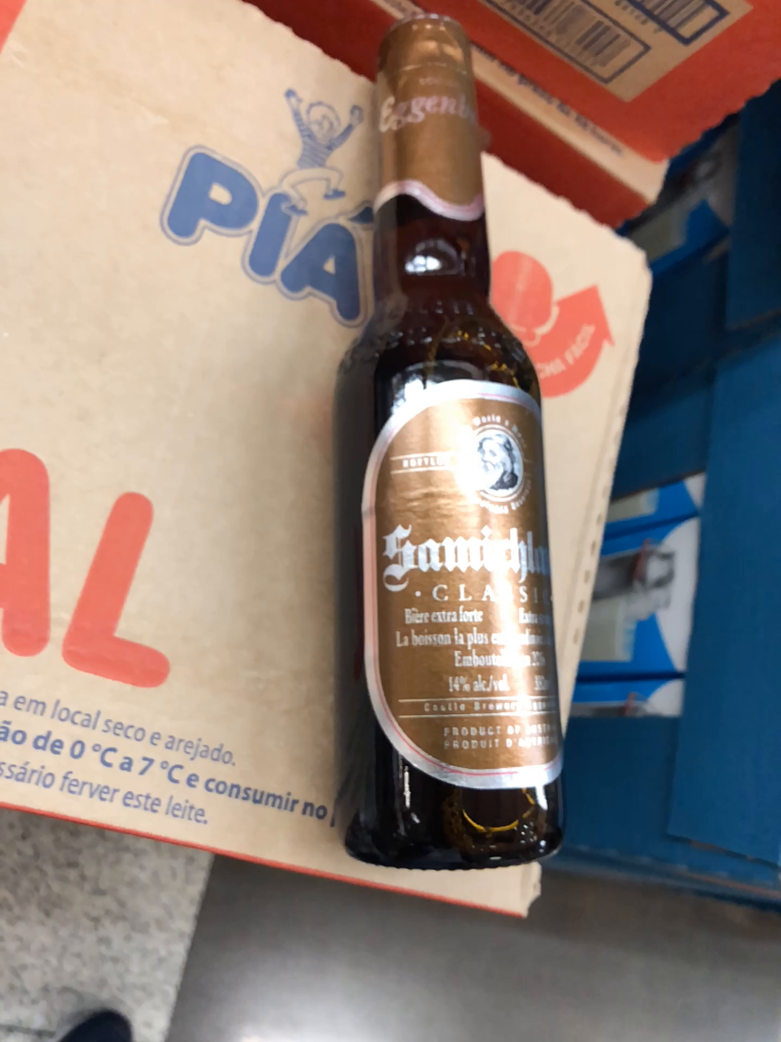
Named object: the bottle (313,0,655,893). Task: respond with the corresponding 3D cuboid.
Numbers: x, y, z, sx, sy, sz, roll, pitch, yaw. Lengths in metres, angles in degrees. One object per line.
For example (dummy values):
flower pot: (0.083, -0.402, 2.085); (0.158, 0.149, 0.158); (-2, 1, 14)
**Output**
bottle: (0.019, -0.043, 0.234); (0.060, 0.050, 0.250); (4, 78, -28)
